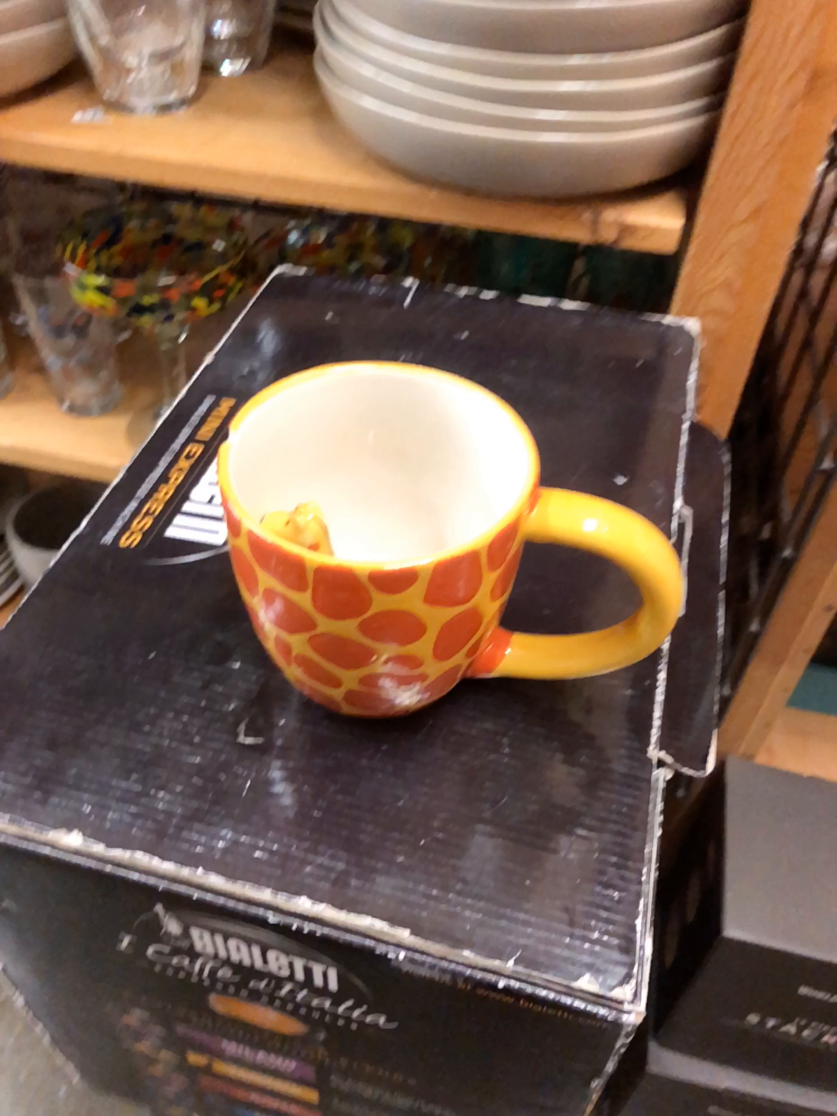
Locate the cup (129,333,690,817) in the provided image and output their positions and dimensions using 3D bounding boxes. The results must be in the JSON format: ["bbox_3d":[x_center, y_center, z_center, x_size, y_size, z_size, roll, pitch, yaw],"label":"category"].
[{"bbox_3d":[0.003,-0.001,0.283,0.134,0.067,0.103,13,46,9],"label":"cup"}]
